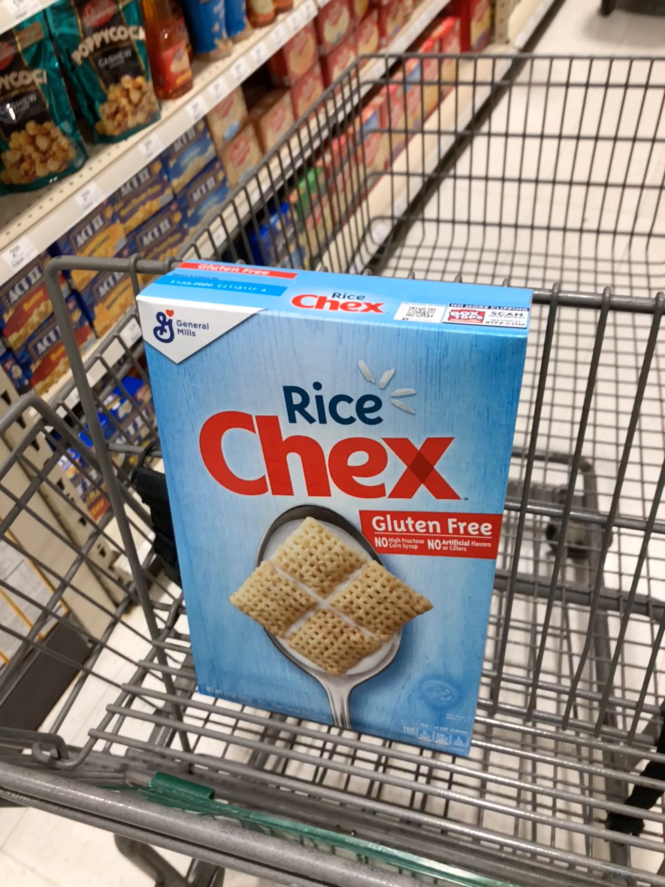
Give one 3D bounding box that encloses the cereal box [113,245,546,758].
[{"bbox_3d":[0.000,0.044,0.431,0.200,0.290,0.060,8,33,14],"label":"cereal box"}]
